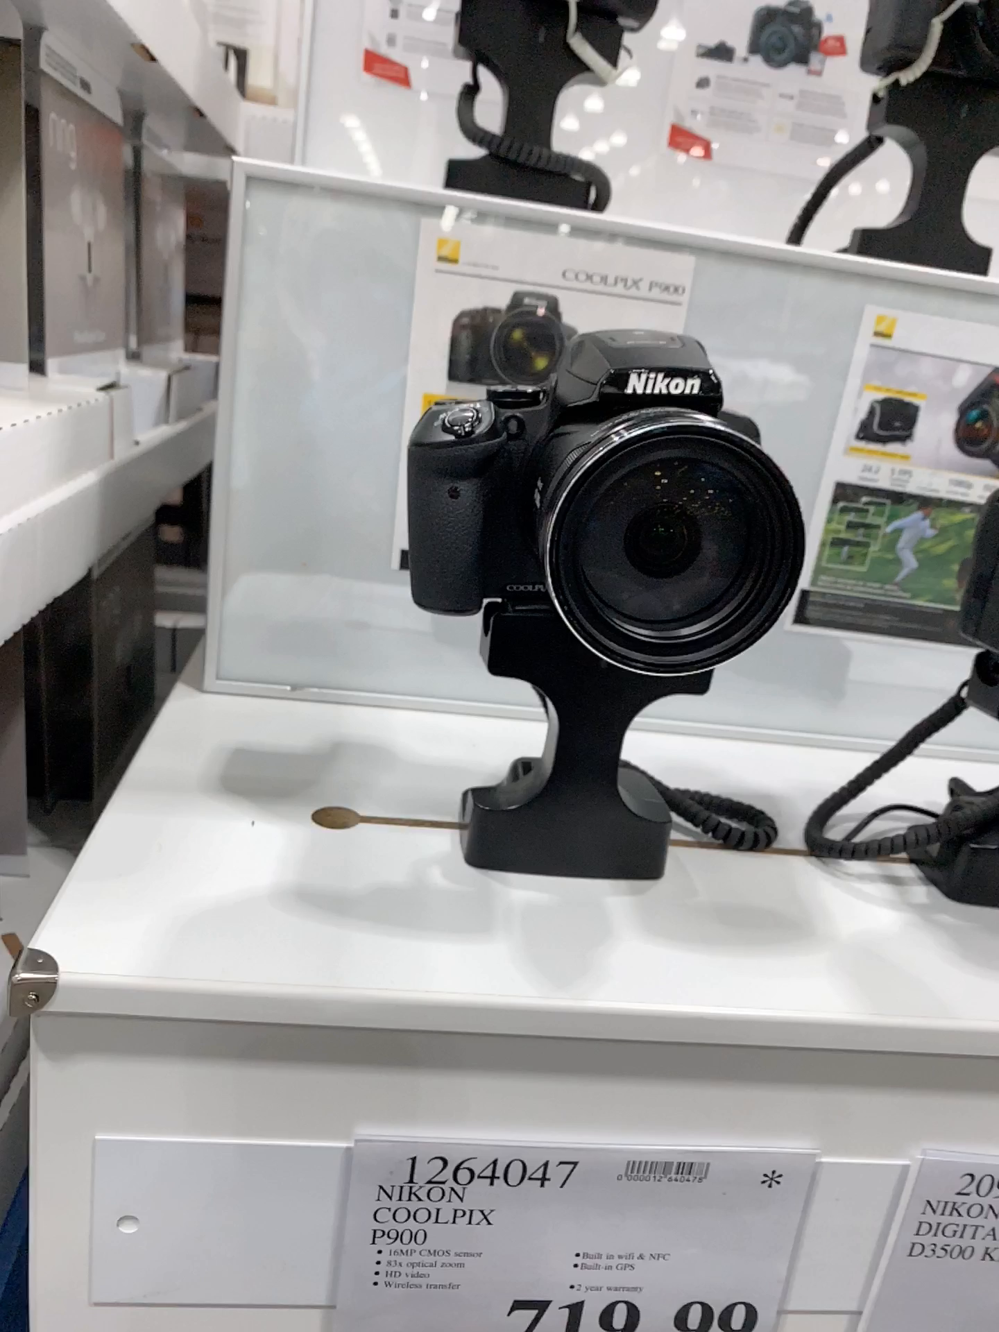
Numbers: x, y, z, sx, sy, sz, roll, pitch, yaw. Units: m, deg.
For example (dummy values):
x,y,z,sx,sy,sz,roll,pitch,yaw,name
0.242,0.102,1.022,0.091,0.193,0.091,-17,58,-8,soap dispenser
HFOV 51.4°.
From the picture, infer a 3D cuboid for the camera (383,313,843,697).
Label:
x,y,z,sx,sy,sz,roll,pitch,yaw,name
0.028,-0.068,0.384,0.130,0.109,0.151,2,18,-3,camera
